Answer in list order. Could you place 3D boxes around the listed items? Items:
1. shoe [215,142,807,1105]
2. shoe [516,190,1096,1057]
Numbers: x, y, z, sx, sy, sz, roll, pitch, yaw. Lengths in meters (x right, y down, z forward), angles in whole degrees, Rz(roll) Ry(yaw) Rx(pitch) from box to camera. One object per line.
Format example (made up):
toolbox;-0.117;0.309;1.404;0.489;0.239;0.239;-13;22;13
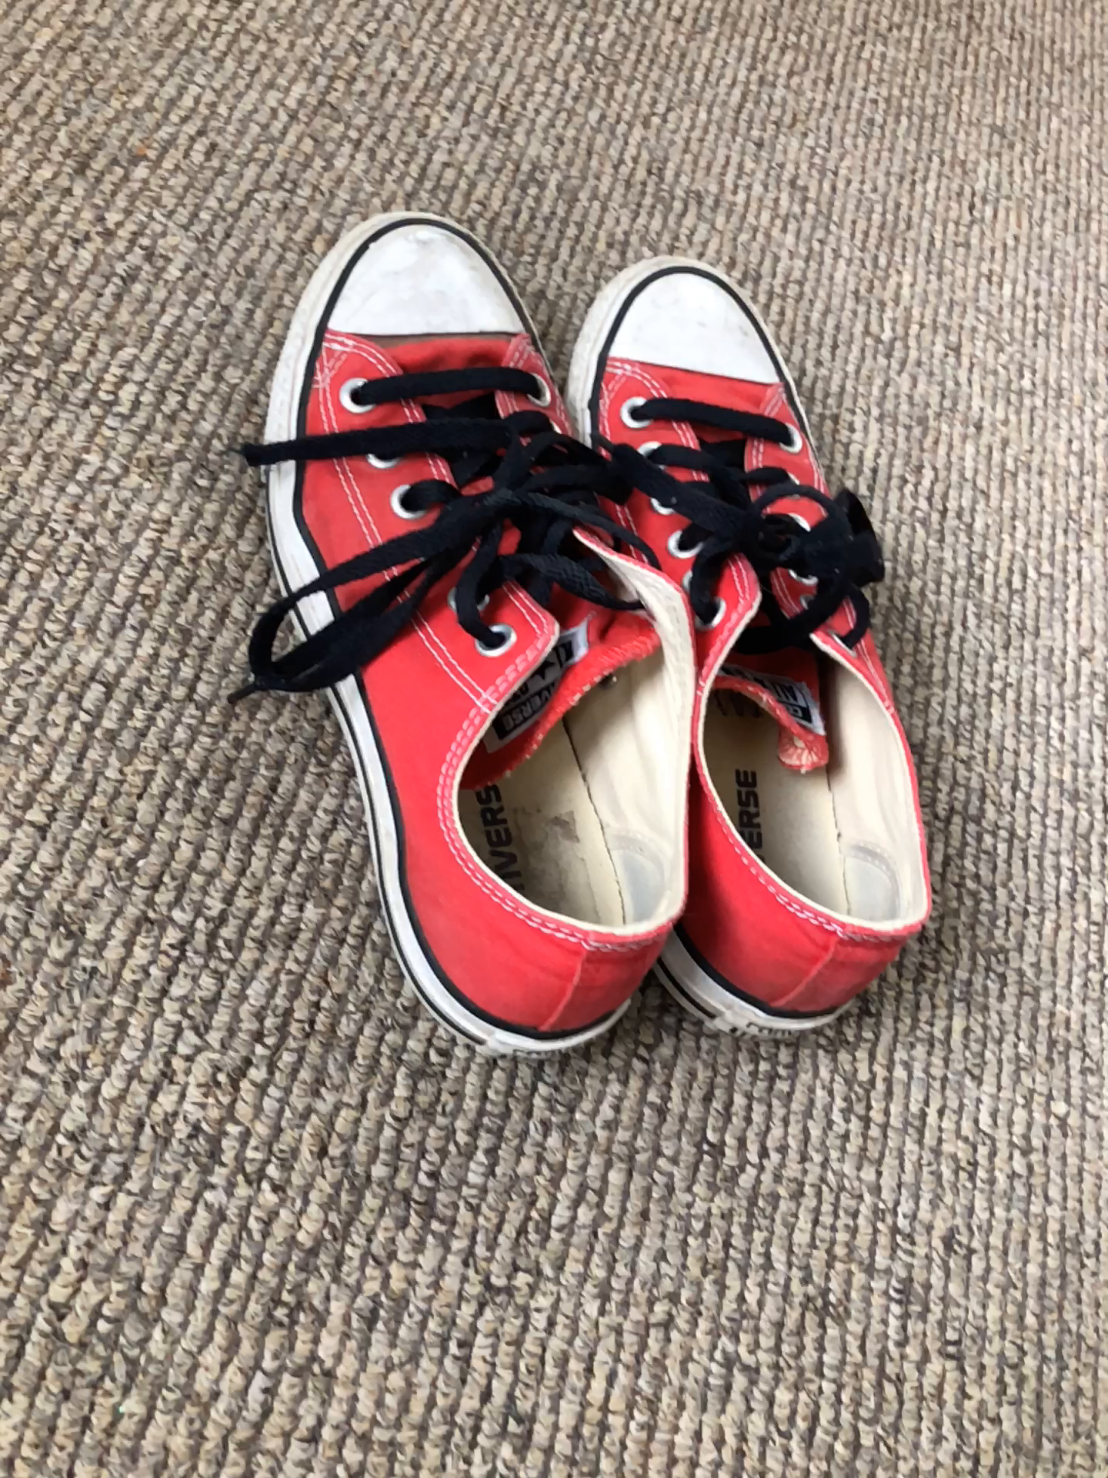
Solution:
shoe;-0.029;-0.039;0.372;0.102;0.096;0.262;-4;67;-23
shoe;0.066;-0.040;0.400;0.102;0.088;0.259;1;65;-21
